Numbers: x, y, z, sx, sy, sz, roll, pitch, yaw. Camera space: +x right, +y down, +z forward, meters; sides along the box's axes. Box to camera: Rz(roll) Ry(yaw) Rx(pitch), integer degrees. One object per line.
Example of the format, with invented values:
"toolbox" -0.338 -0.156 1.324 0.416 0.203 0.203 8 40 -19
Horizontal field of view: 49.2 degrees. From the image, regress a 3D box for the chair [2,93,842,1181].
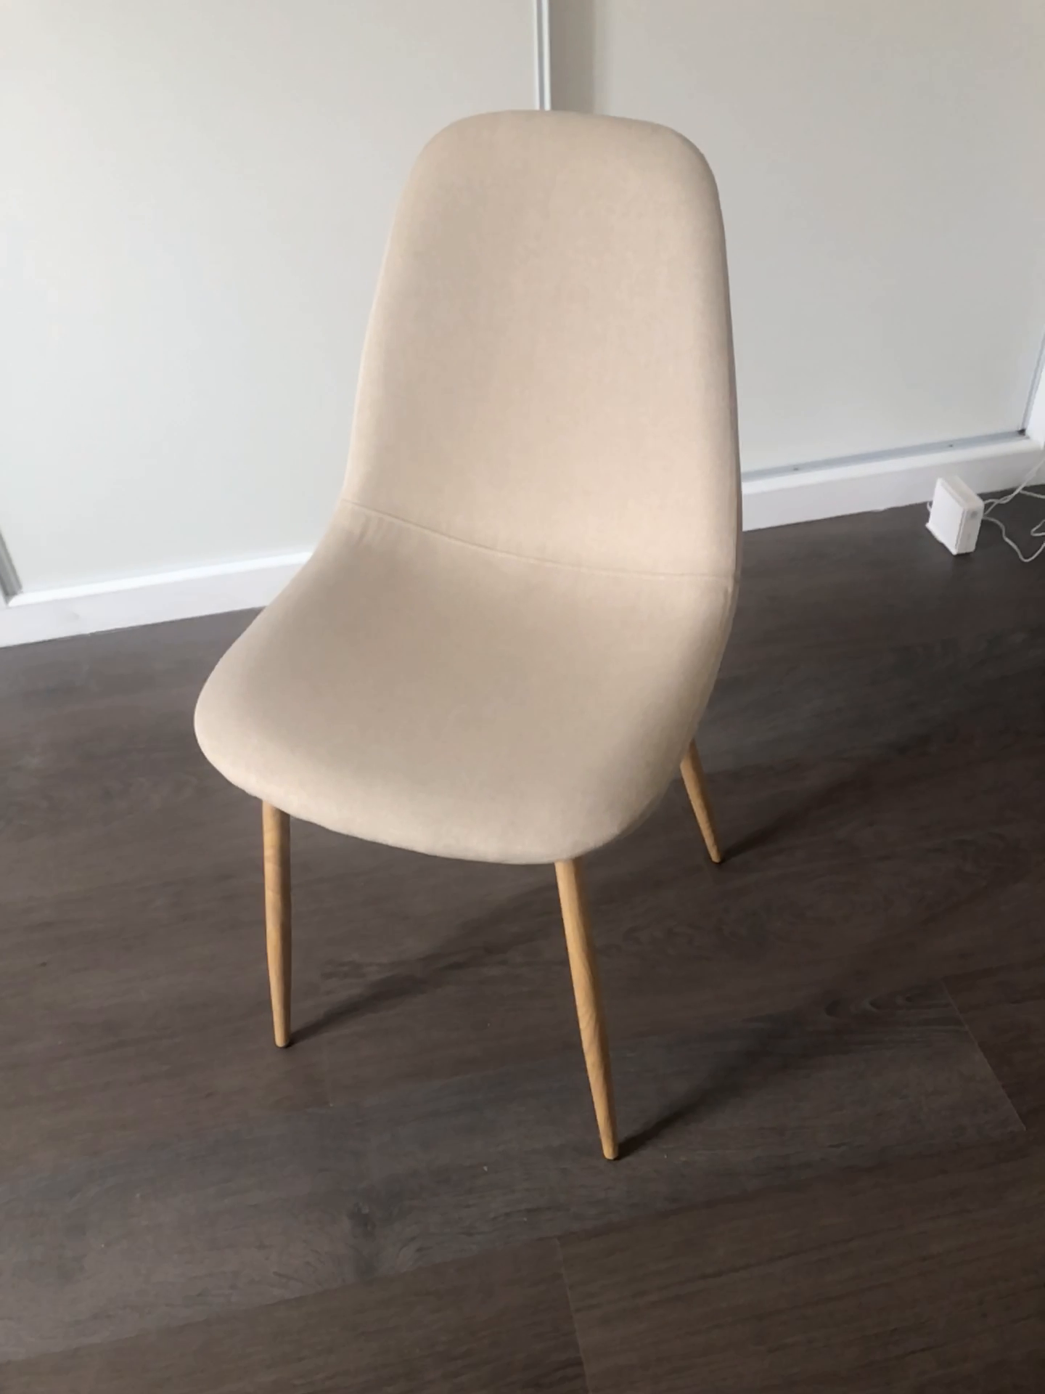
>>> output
"chair" -0.018 -0.044 1.105 0.430 0.845 0.503 14 43 19
